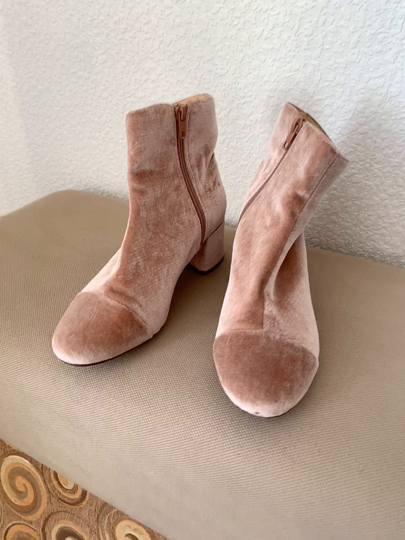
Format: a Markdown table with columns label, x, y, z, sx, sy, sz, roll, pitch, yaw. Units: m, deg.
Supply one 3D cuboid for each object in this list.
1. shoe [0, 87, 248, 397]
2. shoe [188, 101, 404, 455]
| label | x | y | z | sx | sy | sz | roll | pitch | yaw |
| --- | --- | --- | --- | --- | --- | --- | --- | --- | --- |
| shoe | -0.059 | -0.046 | 0.365 | 0.100 | 0.169 | 0.231 | 18 | 37 | 24 |
| shoe | 0.064 | -0.024 | 0.354 | 0.100 | 0.169 | 0.271 | 6 | 34 | 8 |
